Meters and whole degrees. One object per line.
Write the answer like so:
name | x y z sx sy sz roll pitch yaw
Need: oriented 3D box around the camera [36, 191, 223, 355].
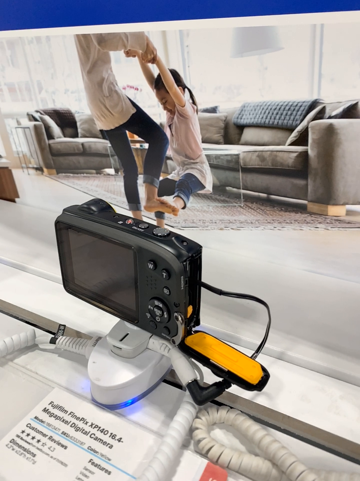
camera | -0.034 0.015 0.238 0.110 0.060 0.040 19 30 26
